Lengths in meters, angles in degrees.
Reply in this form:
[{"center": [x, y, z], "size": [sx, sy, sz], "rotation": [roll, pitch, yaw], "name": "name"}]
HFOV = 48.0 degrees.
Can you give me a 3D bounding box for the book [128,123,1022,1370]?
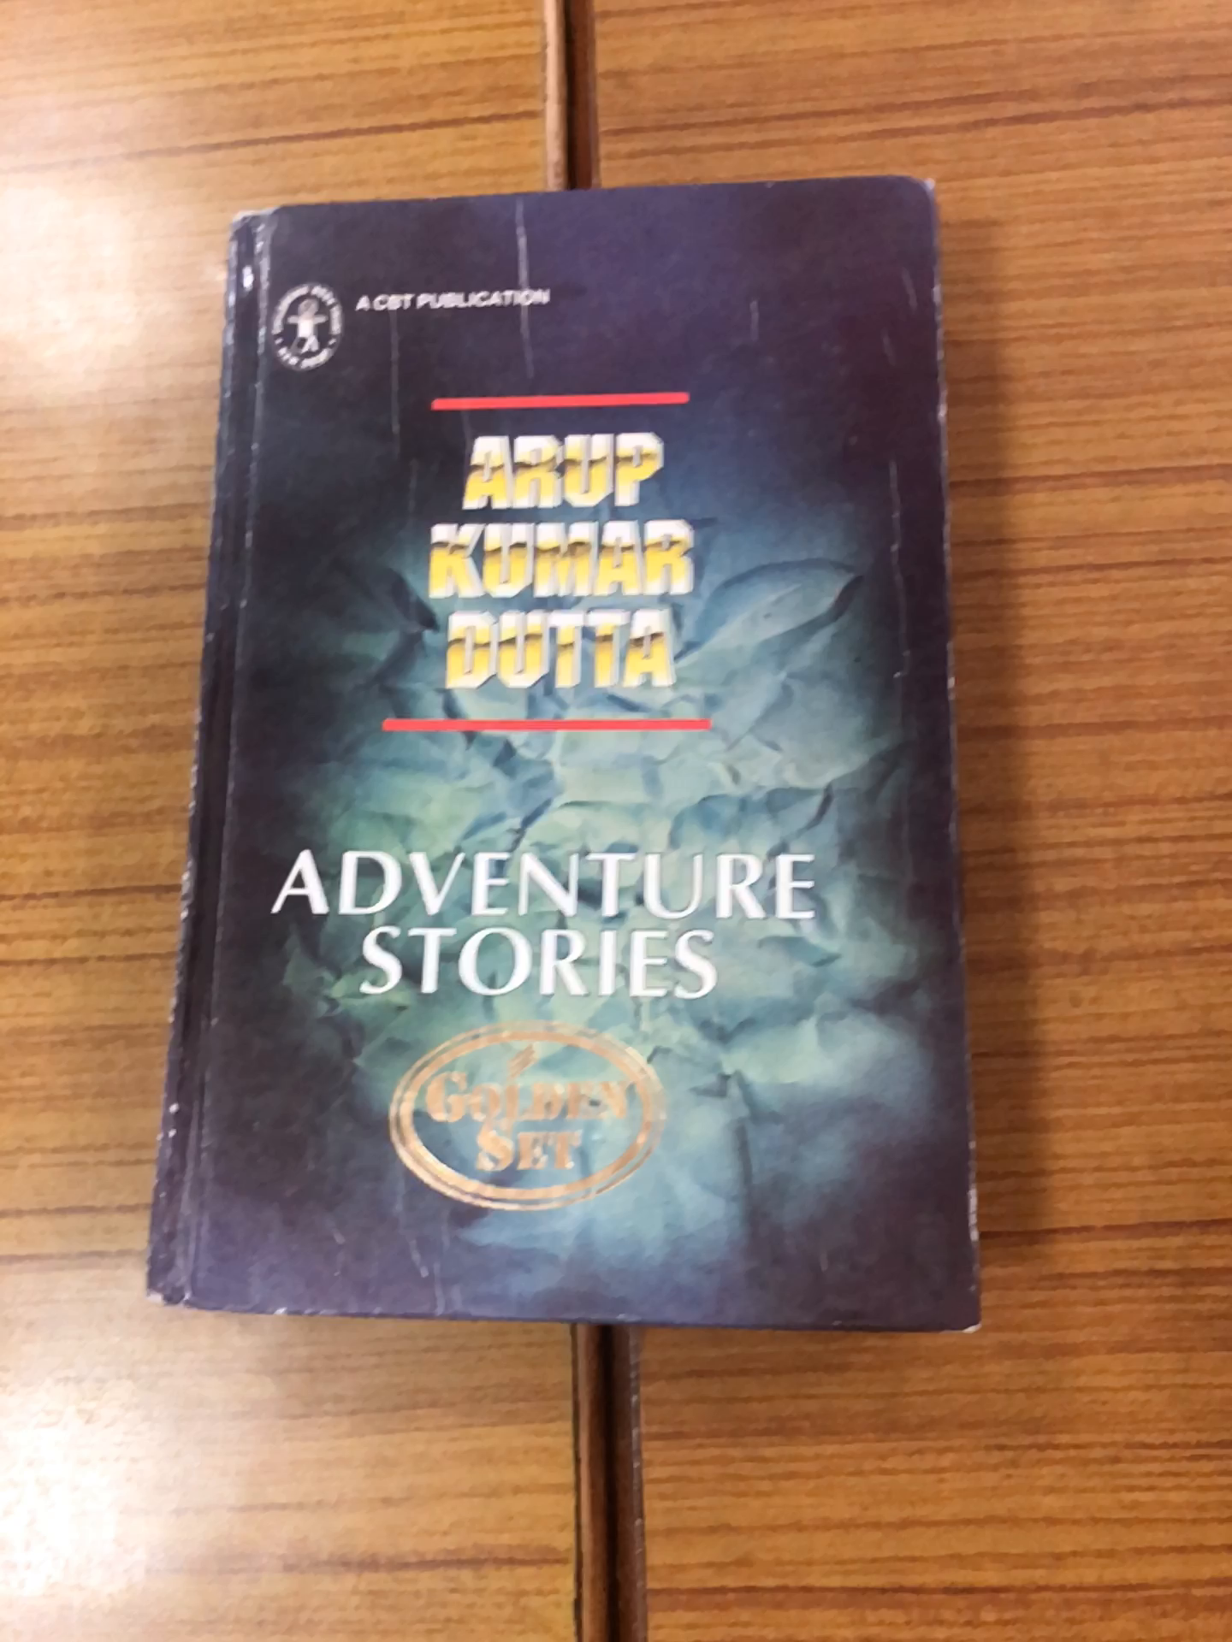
[{"center": [-0.007, -0.017, 0.259], "size": [0.145, 0.036, 0.218], "rotation": [-1, 80, 5], "name": "book"}]
